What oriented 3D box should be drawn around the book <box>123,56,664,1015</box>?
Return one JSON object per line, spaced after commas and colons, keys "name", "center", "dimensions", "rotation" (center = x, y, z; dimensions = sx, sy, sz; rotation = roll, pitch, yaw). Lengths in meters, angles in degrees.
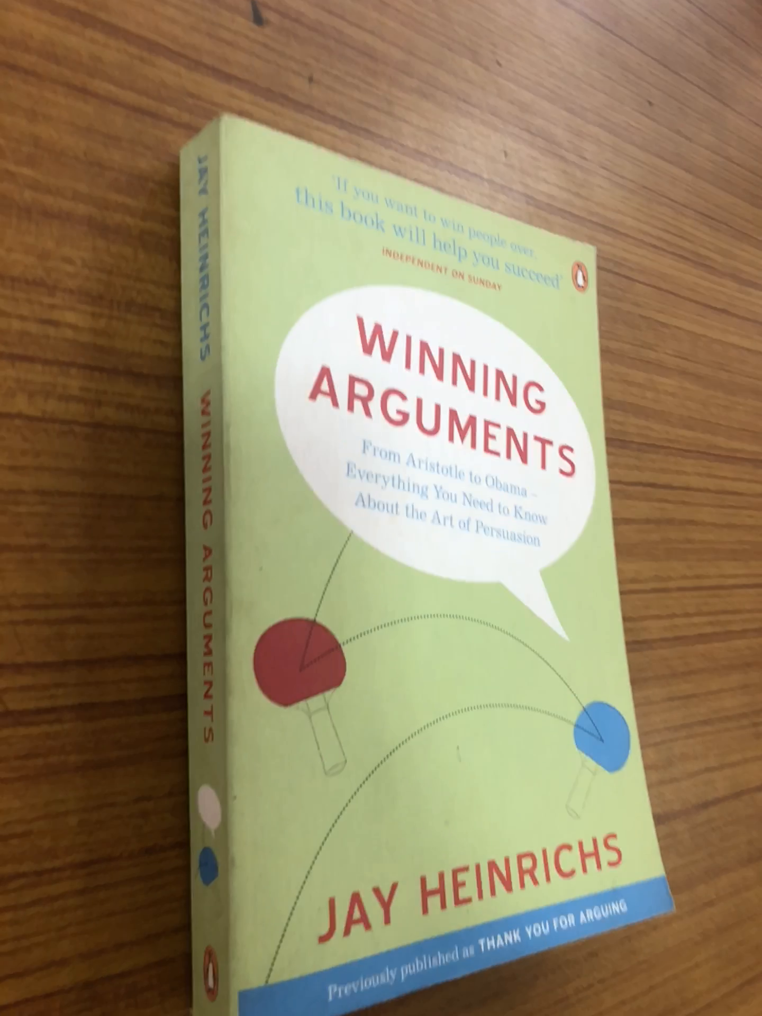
{"name": "book", "center": [0.009, 0.013, 0.221], "dimensions": [0.141, 0.030, 0.210], "rotation": [6, 77, -38]}
